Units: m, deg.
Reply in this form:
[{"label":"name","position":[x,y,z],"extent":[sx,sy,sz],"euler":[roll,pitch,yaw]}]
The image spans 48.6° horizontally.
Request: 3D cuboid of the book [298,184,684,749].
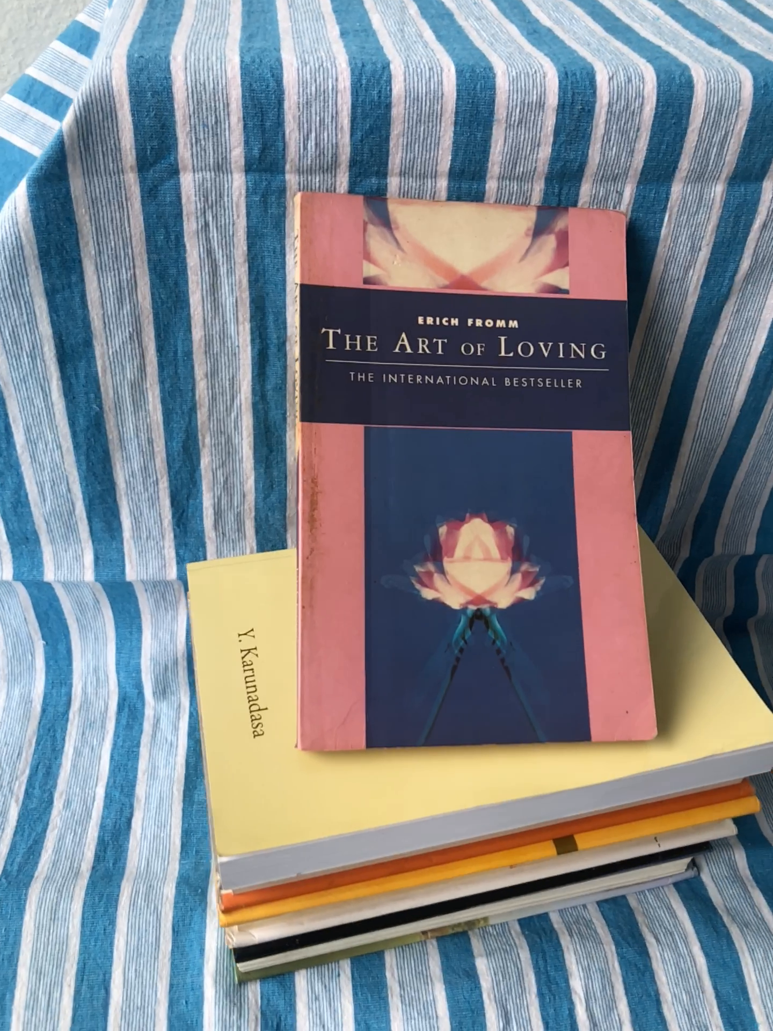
[{"label":"book","position":[0.034,-0.020,0.302],"extent":[0.129,0.015,0.193],"euler":[0,84,-6]}]
